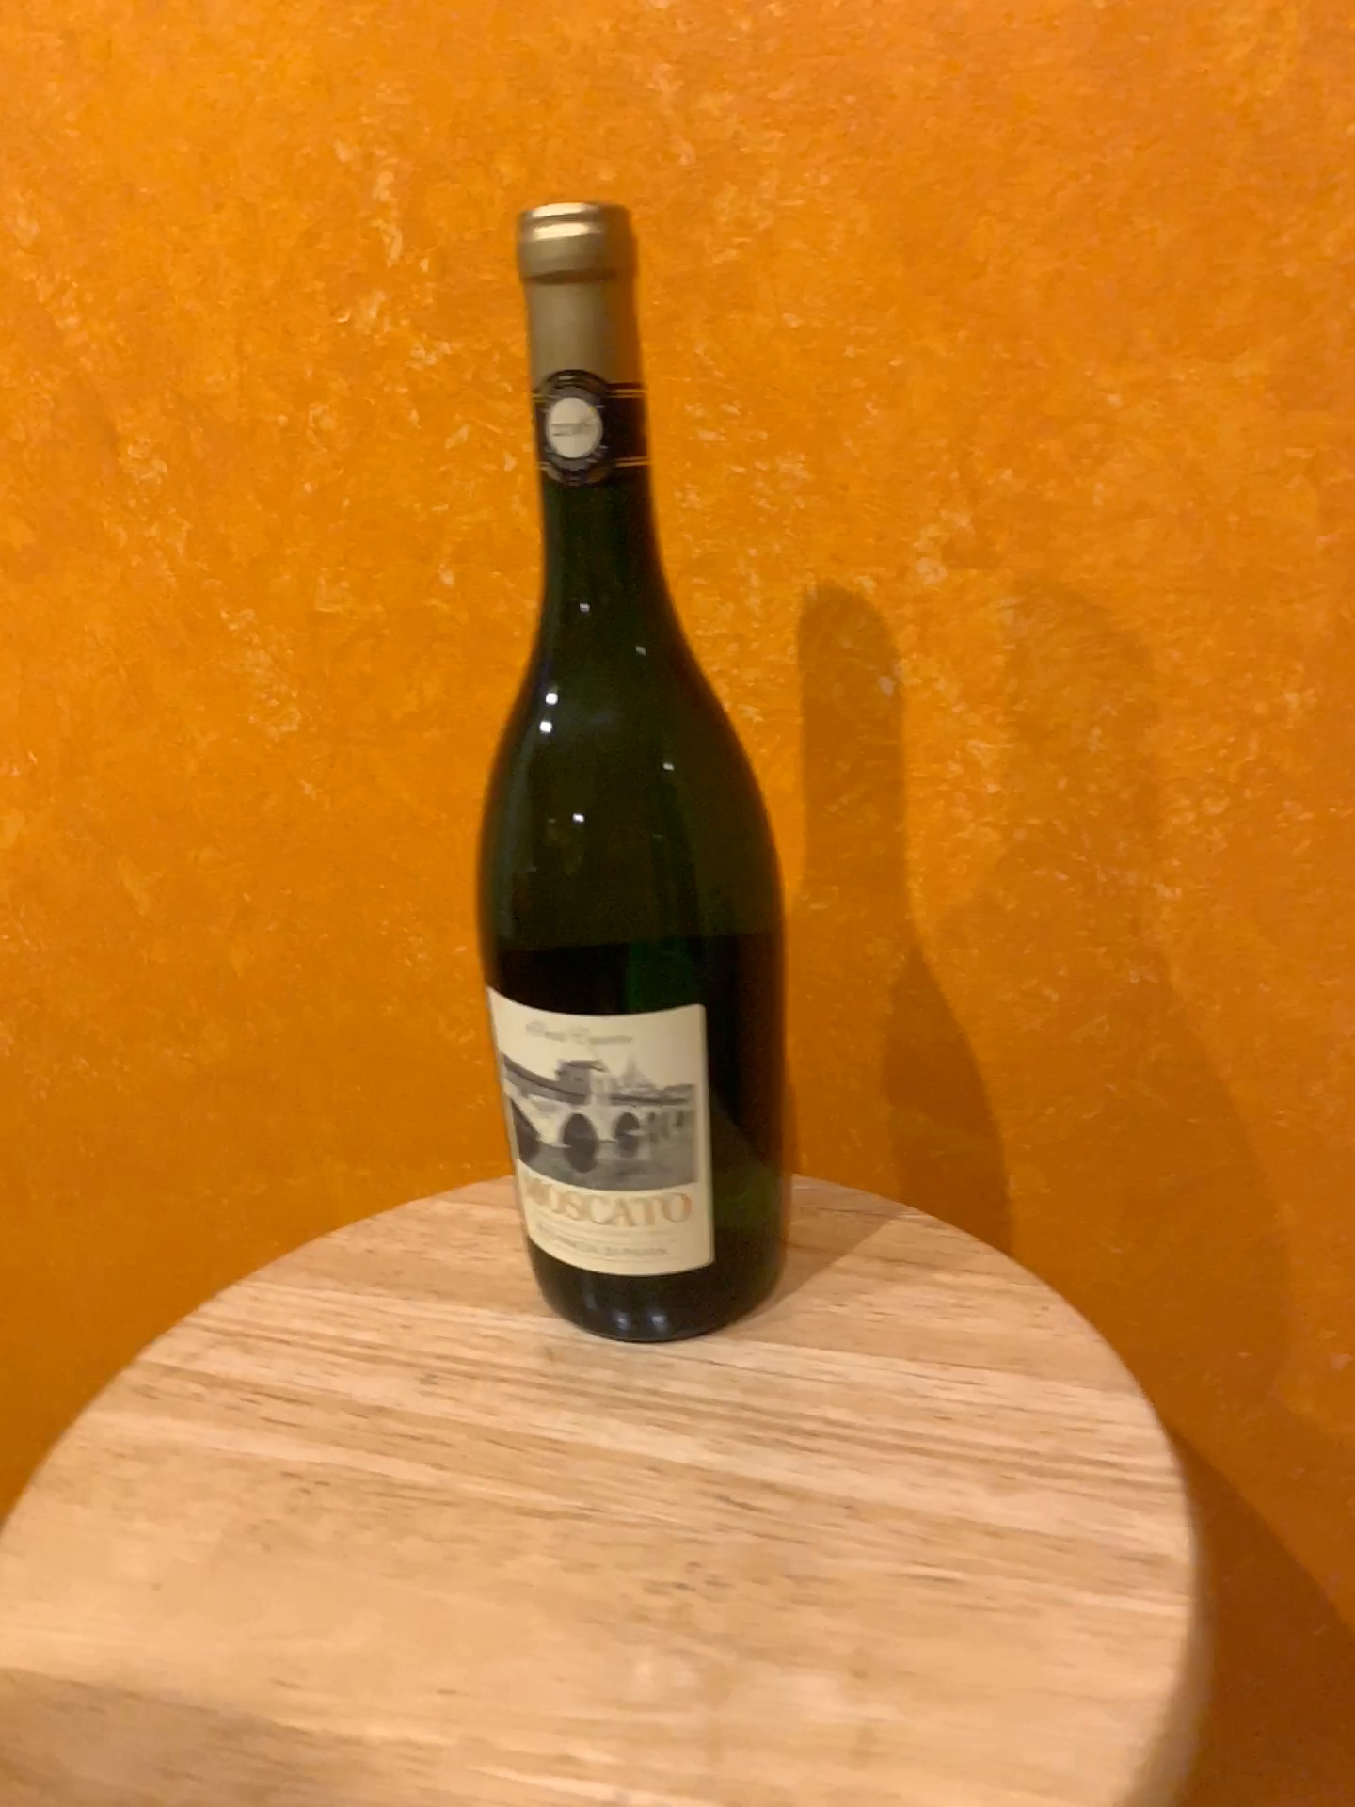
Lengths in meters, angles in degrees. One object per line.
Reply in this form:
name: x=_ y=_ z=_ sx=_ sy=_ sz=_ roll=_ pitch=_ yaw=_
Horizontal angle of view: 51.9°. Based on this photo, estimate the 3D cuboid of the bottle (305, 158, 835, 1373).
bottle: x=-0.017 y=-0.026 z=0.368 sx=0.090 sy=0.289 sz=0.070 roll=4 pitch=22 yaw=22
